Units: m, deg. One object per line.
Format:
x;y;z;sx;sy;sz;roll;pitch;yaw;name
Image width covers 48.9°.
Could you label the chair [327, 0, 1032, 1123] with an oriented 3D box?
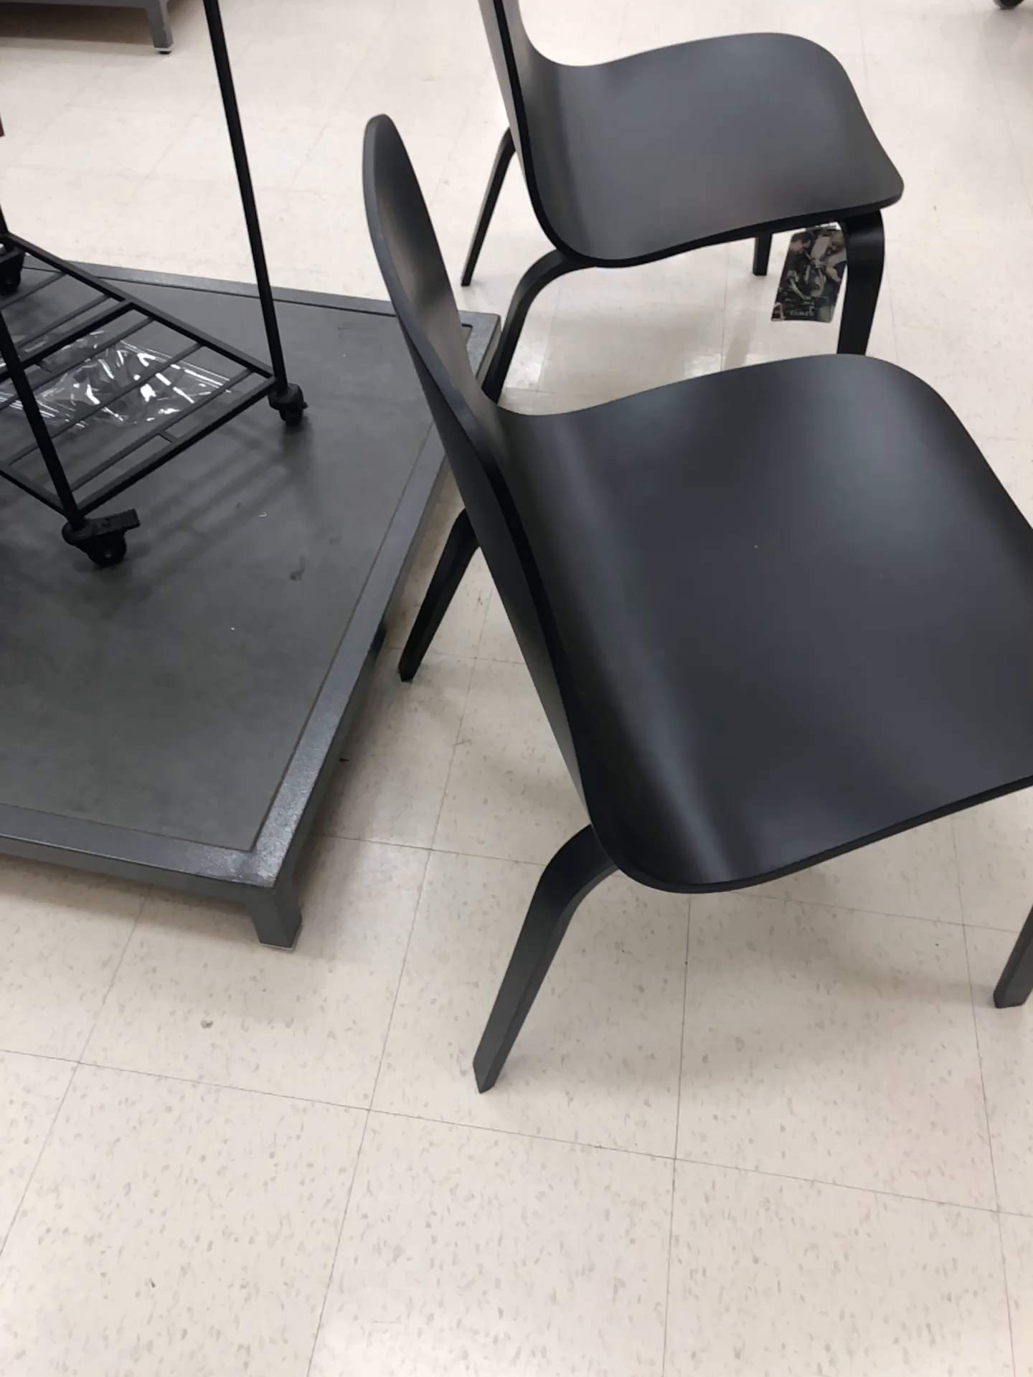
0.218;-0.112;1.046;0.630;0.718;0.642;-9;50;-8;chair
